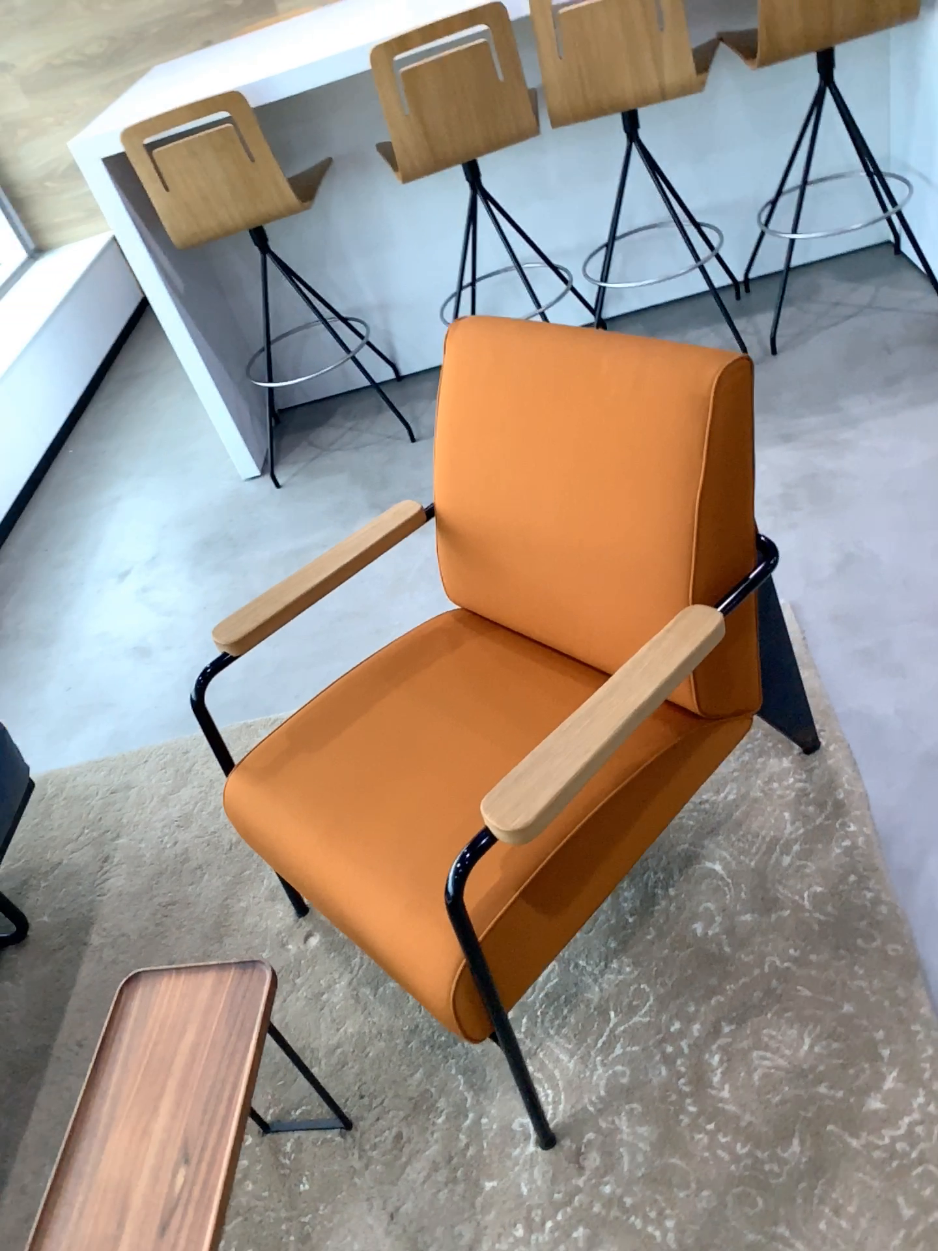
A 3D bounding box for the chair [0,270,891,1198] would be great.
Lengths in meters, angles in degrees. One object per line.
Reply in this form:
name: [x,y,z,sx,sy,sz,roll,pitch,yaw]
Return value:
chair: [0.029,0.062,1.377,0.862,0.734,0.734,-40,42,-23]
